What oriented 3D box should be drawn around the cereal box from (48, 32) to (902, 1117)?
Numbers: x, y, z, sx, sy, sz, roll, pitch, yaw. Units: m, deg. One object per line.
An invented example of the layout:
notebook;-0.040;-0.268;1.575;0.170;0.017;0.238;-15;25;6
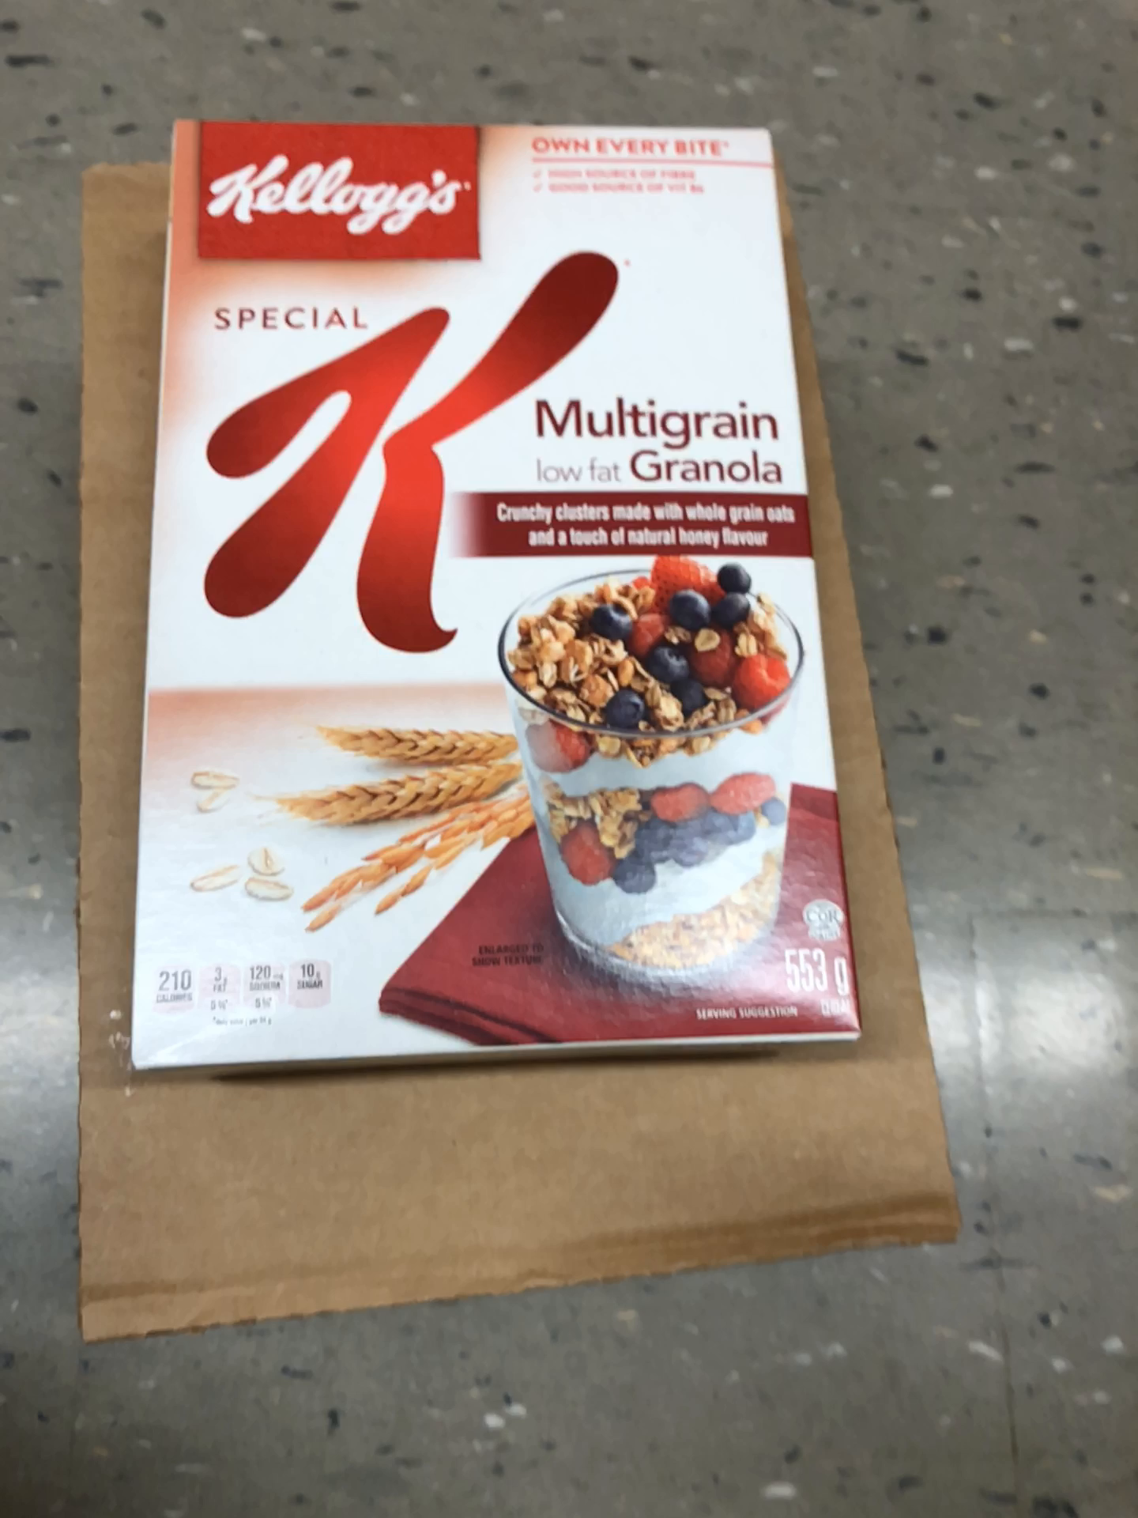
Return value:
cereal box;-0.028;-0.054;0.332;0.180;0.050;0.270;0;72;-12
